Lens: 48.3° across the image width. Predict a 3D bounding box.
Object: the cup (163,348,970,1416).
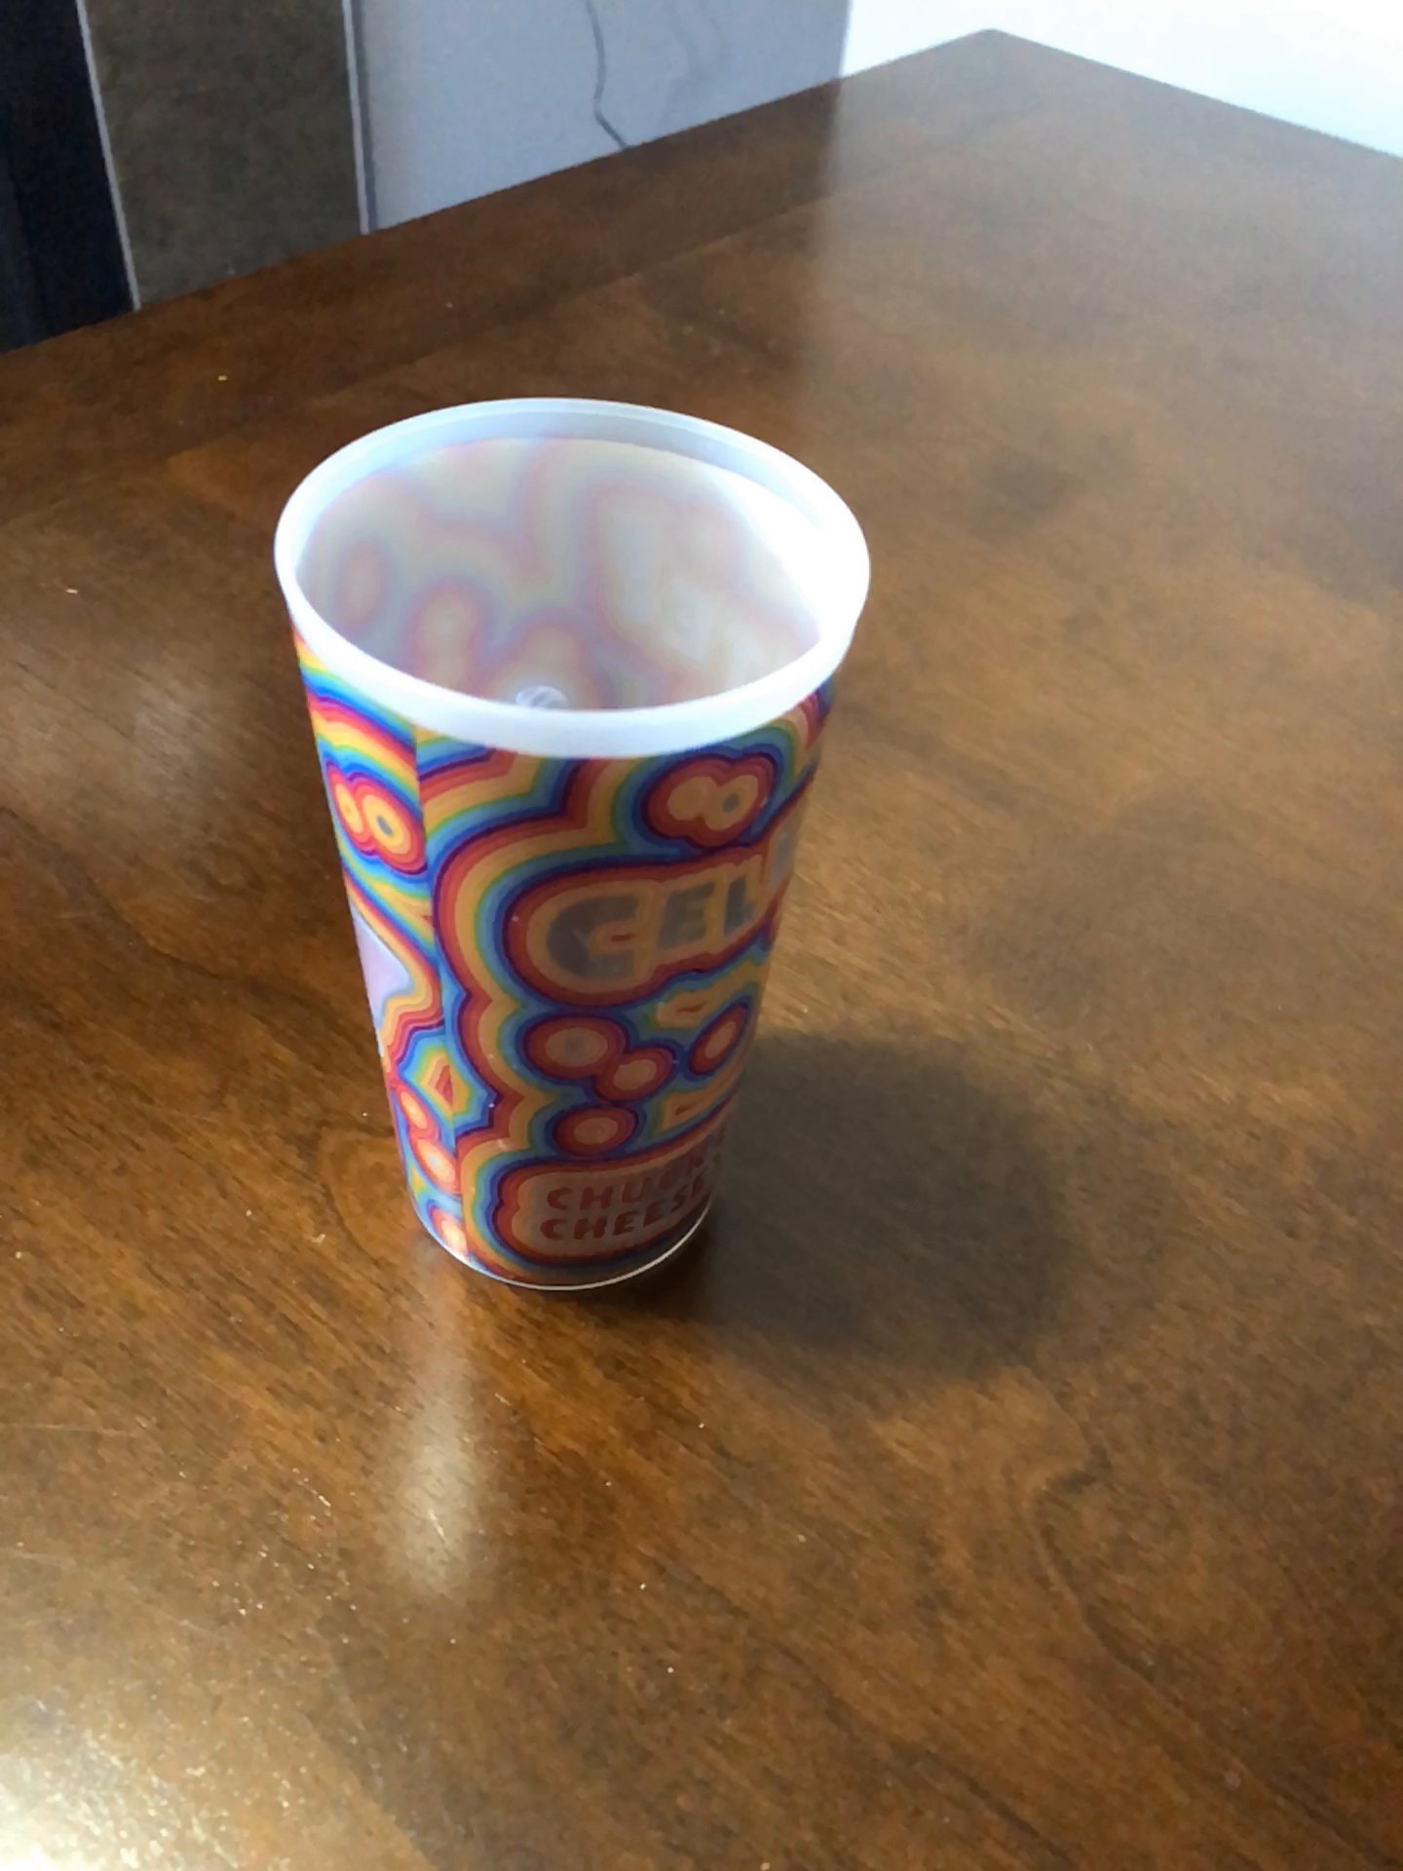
[{"bbox_3d":[-0.020,-0.004,0.238,0.070,0.130,0.070,3,45,-3],"label":"cup"}]
